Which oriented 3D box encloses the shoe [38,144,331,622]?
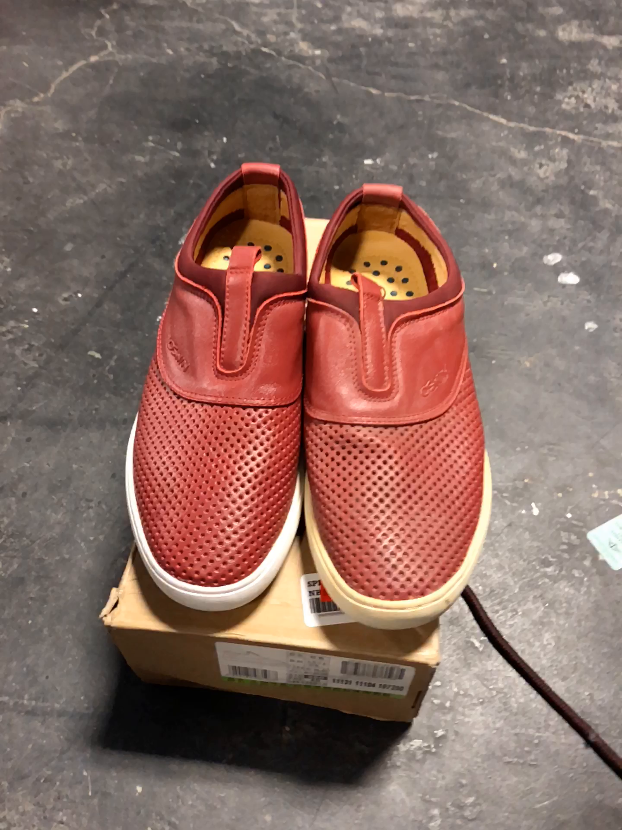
[{"bbox_3d":[-0.047,-0.031,0.372,0.100,0.089,0.252,4,54,1],"label":"shoe"}]

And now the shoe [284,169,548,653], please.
[{"bbox_3d":[0.046,-0.016,0.371,0.100,0.089,0.252,4,54,1],"label":"shoe"}]
